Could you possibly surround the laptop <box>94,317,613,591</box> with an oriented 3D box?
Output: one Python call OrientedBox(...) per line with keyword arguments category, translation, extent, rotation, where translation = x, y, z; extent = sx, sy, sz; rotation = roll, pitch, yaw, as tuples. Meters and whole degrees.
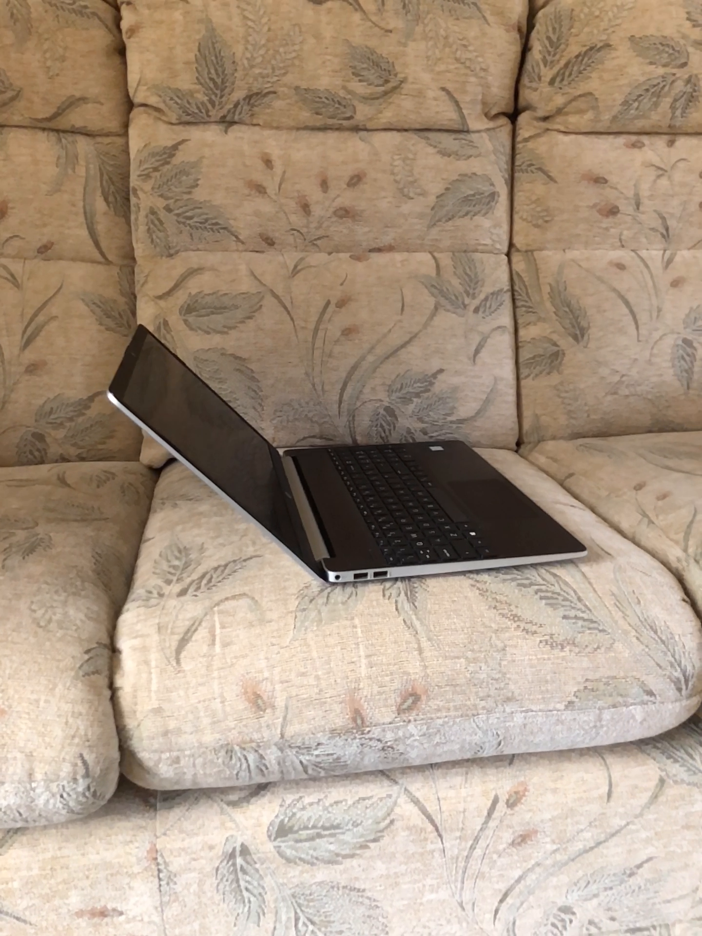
OrientedBox(category="laptop", translation=(-0.015, -0.043, 0.770), extent=(0.397, 0.163, 0.340), rotation=(-4, 21, -11))
